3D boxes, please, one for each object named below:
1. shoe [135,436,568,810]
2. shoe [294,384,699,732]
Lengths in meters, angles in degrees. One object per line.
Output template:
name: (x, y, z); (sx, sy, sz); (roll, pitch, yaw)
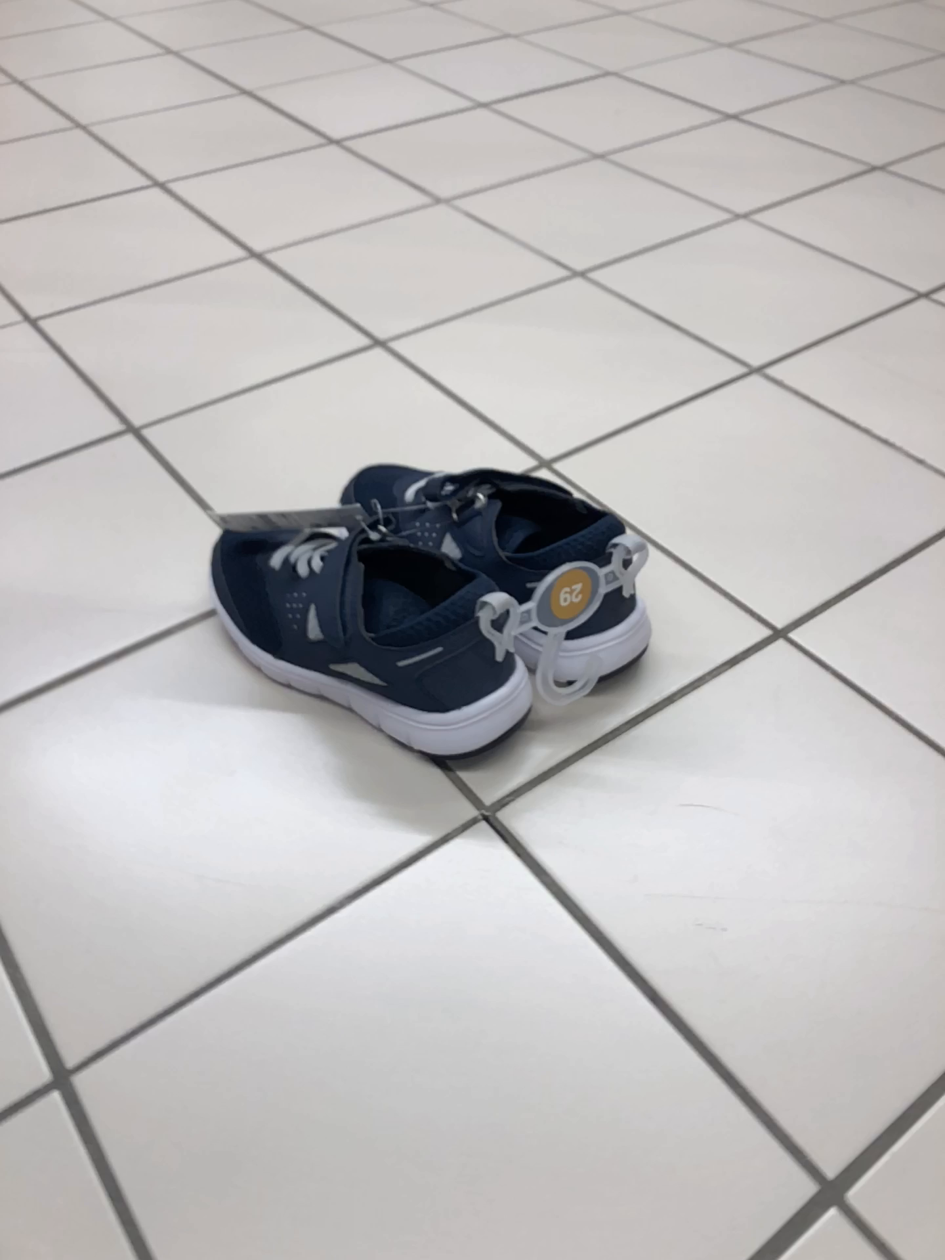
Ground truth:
shoe: (-0.061, -0.011, 0.514); (0.198, 0.080, 0.081); (27, 50, 26)
shoe: (0.008, -0.045, 0.556); (0.196, 0.084, 0.084); (30, 51, 28)
